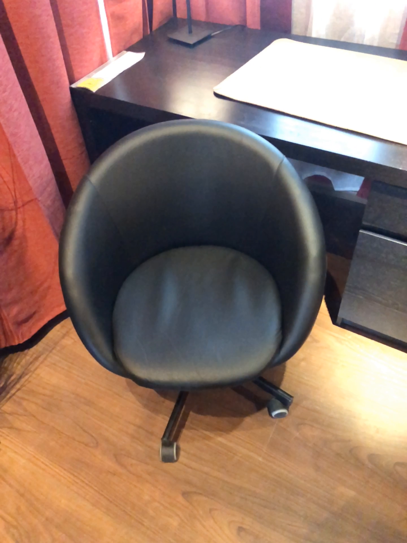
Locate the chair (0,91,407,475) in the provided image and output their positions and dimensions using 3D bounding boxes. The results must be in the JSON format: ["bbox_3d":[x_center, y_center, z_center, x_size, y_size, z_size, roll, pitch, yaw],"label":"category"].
[{"bbox_3d":[-0.011,0.055,1.109,0.630,0.696,0.573,-7,48,-1],"label":"chair"}]
